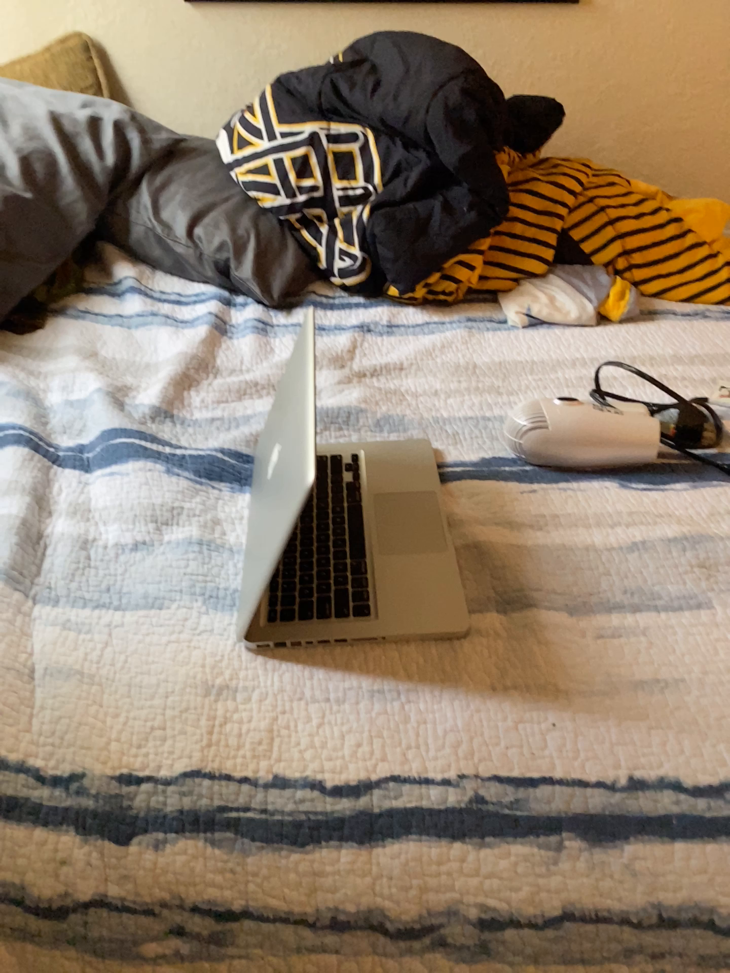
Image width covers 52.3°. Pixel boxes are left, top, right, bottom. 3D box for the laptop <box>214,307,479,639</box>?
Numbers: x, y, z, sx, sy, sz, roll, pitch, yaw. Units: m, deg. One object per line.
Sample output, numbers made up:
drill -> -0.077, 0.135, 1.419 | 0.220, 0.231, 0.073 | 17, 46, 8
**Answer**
laptop -> -0.020, -0.026, 0.775 | 0.214, 0.188, 0.302 | -2, 40, 0
